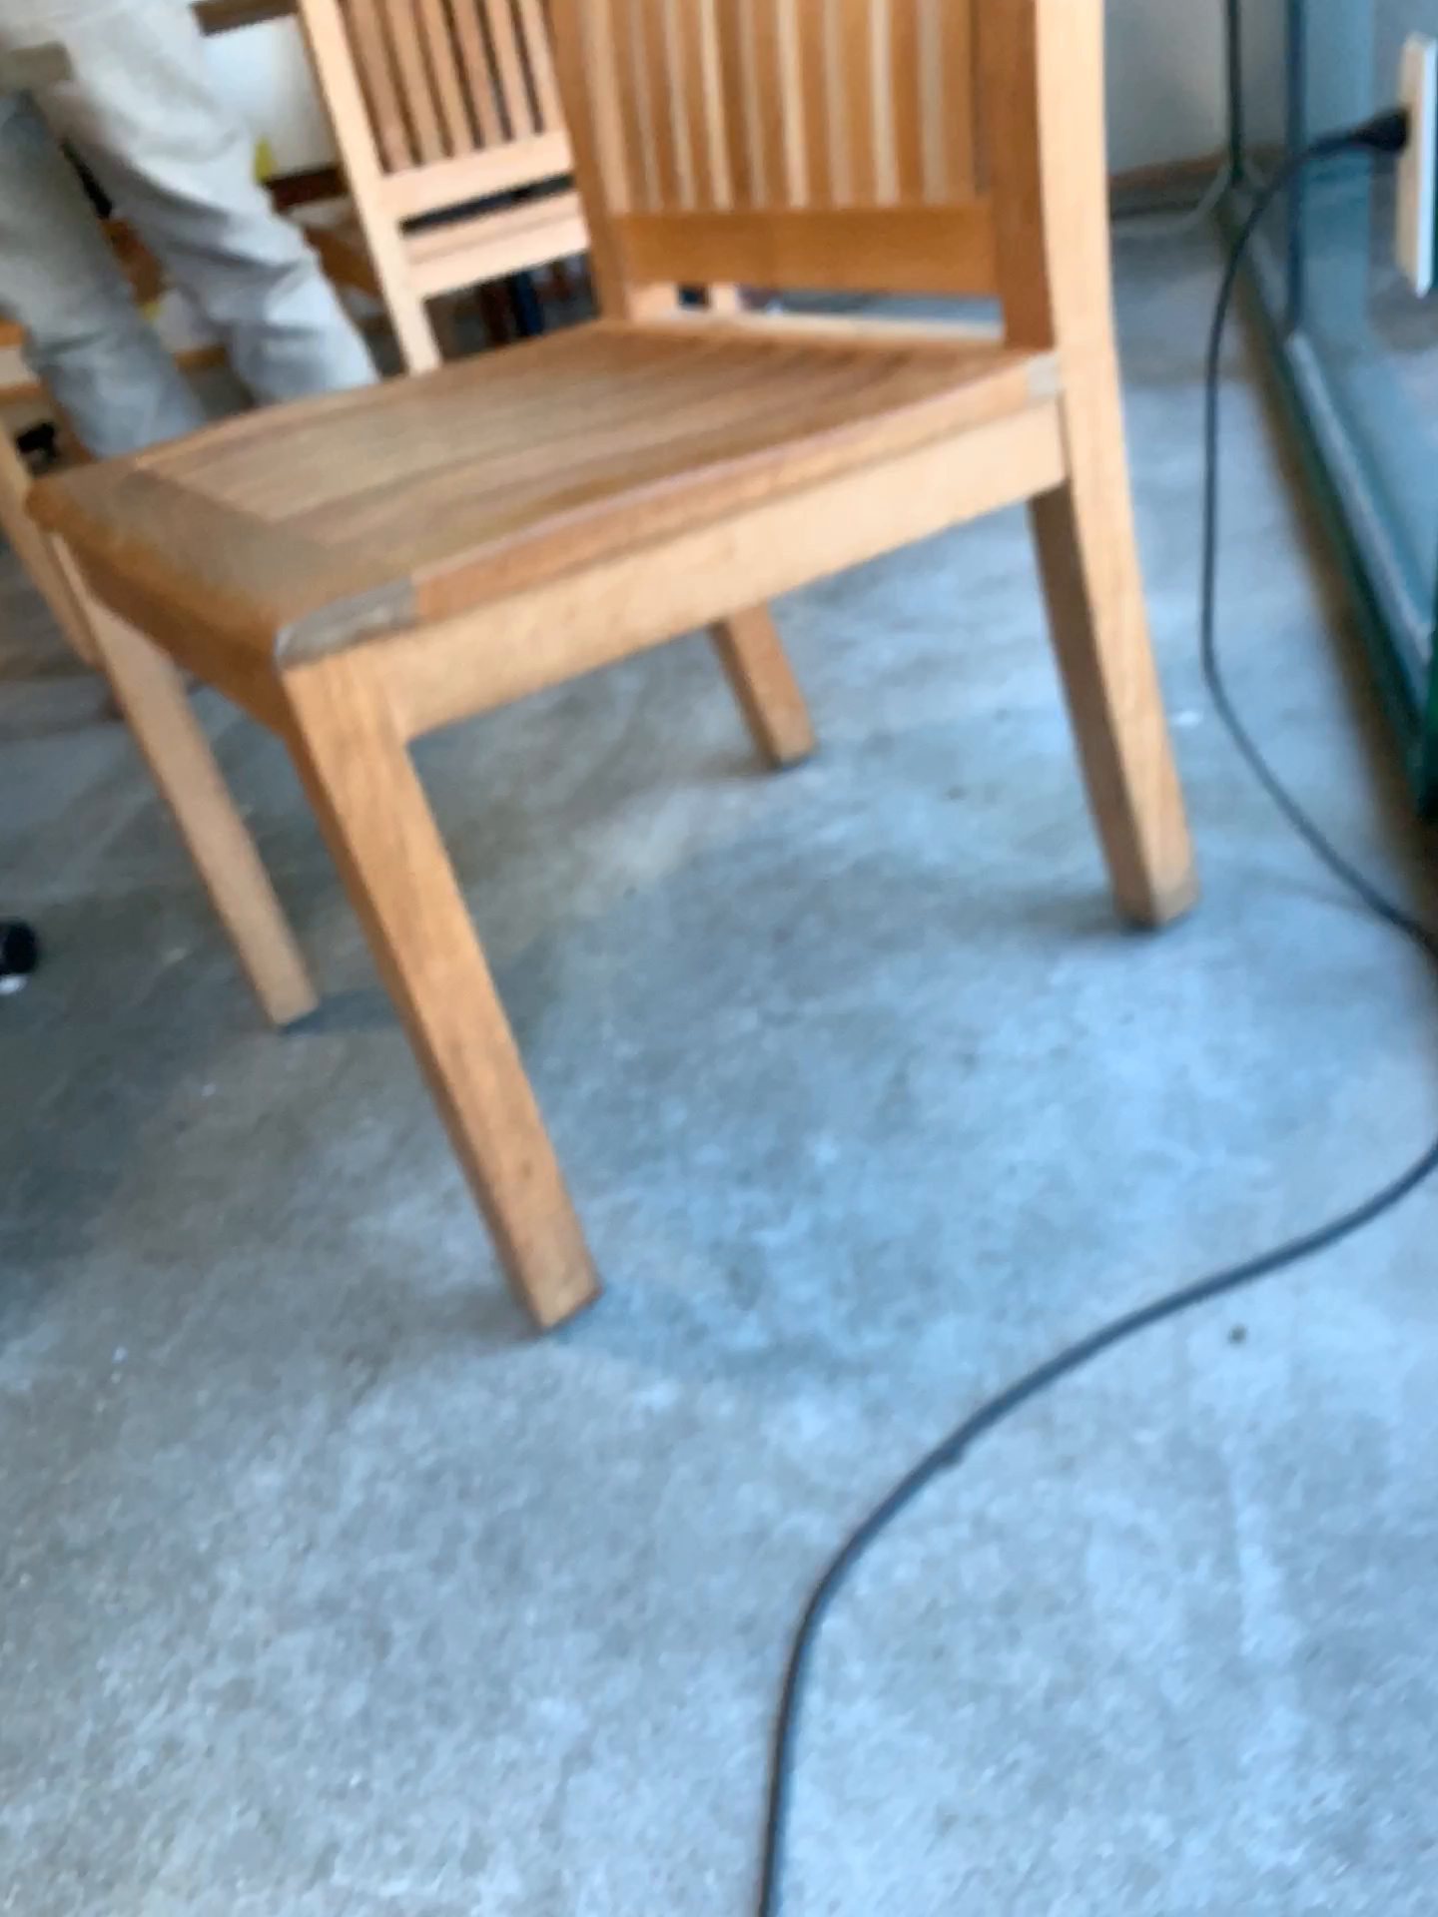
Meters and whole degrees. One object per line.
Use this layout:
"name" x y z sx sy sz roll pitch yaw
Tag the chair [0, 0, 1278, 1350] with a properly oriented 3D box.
"chair" -0.102 -0.399 0.875 0.610 0.914 0.533 -29 35 -22
